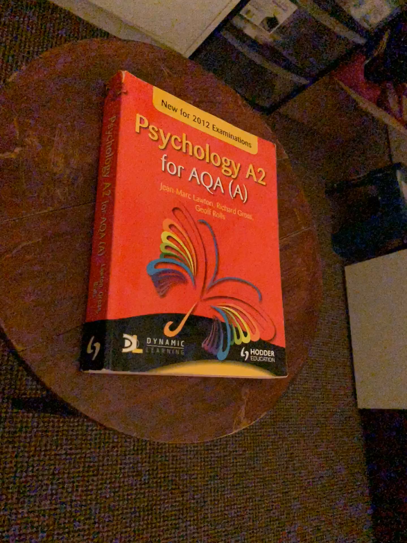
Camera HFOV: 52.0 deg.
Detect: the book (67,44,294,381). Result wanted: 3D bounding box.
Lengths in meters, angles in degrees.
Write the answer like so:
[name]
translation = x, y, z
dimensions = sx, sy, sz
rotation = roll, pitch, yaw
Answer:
[book]
translation = -0.008, -0.046, 0.411
dimensions = 0.211, 0.040, 0.291
rotation = 13, 68, -34
